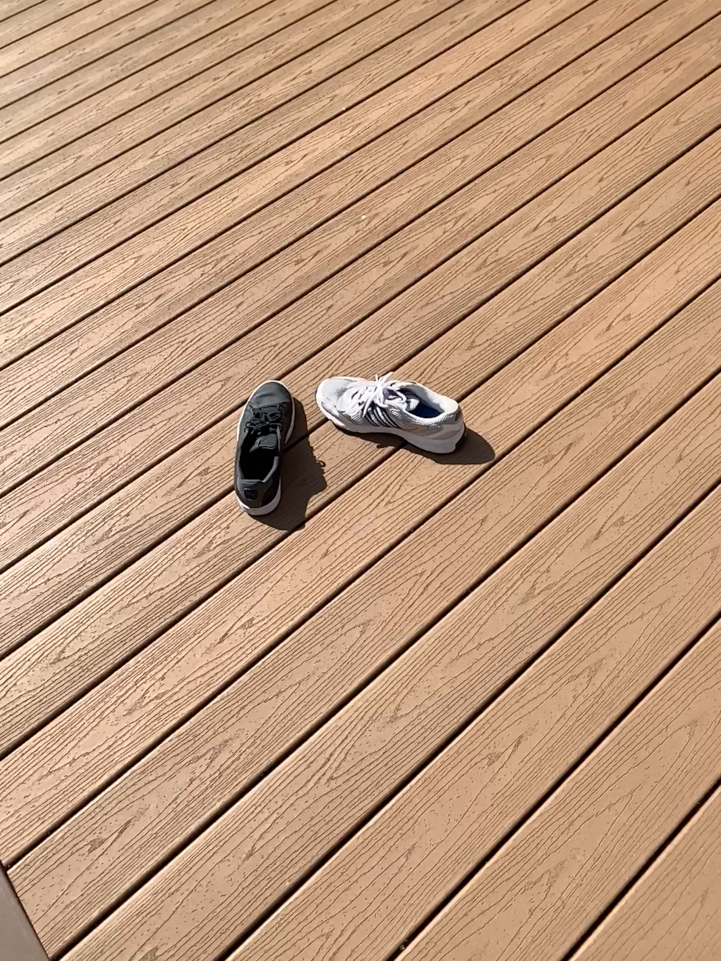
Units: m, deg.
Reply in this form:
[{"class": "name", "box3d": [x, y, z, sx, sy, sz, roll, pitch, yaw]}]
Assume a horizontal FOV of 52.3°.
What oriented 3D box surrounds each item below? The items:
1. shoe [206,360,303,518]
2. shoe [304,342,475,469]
[{"class": "shoe", "box3d": [-0.176, -0.075, 1.265, 0.110, 0.100, 0.261, 1, 59, 7]}, {"class": "shoe", "box3d": [0.053, -0.133, 1.294, 0.270, 0.120, 0.110, 17, 62, 15]}]
